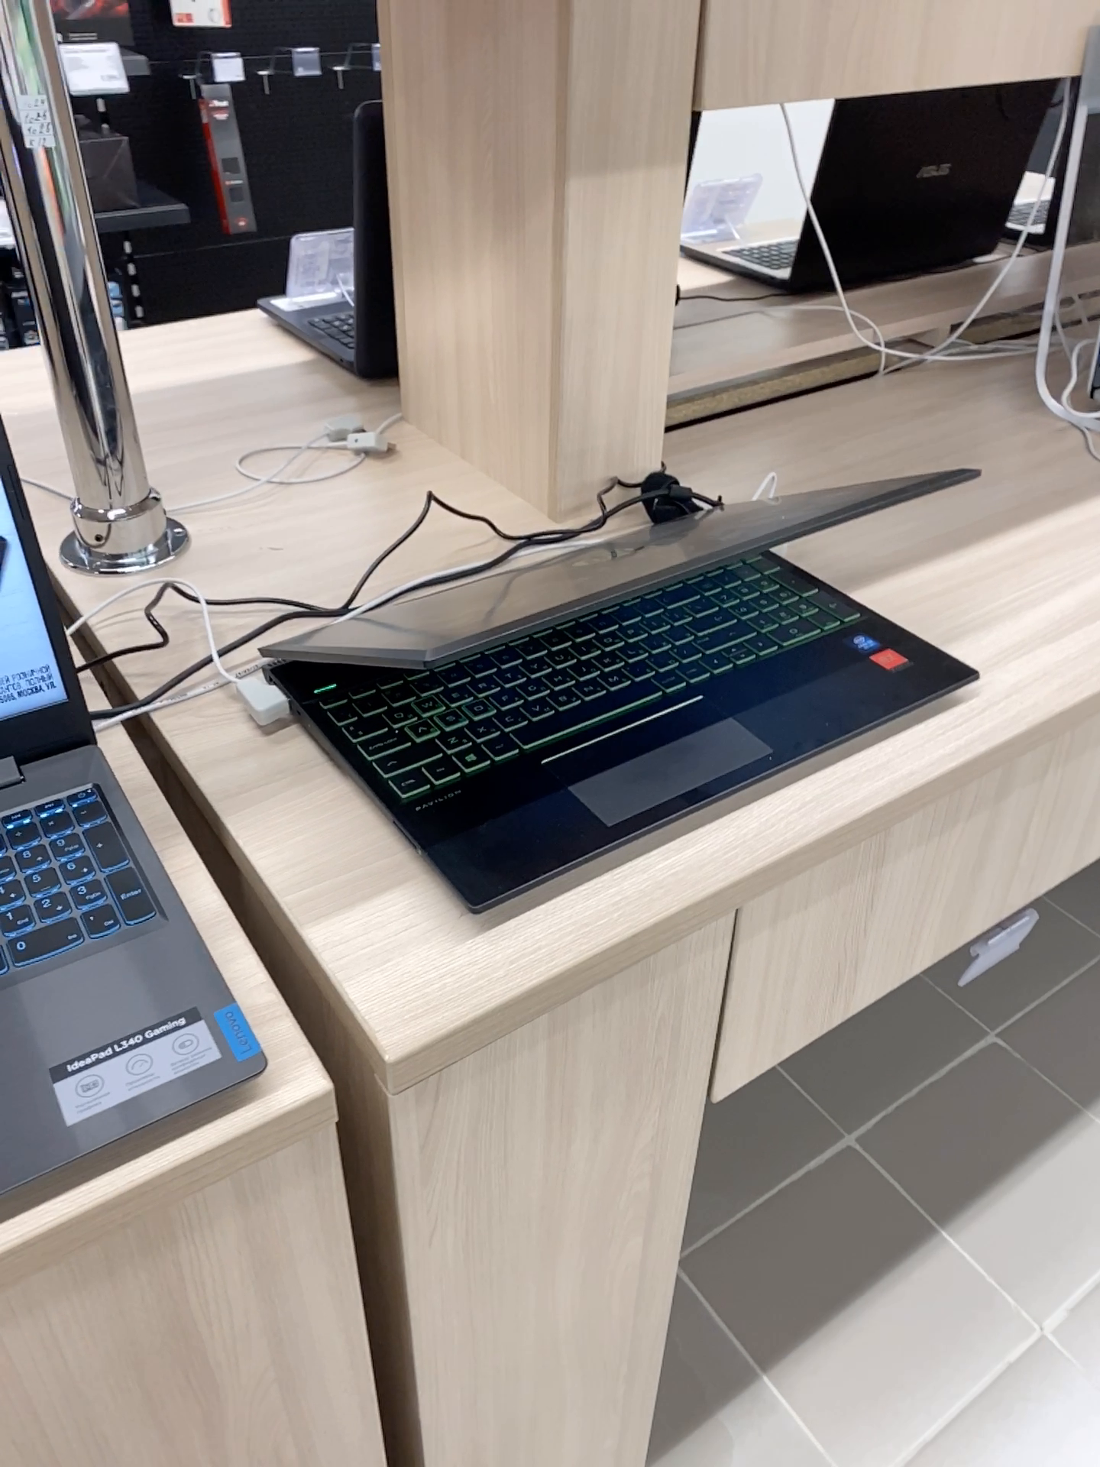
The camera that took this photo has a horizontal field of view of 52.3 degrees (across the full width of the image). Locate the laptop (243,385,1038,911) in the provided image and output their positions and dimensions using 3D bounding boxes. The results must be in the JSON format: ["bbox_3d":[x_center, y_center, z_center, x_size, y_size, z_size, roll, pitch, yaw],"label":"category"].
[{"bbox_3d":[0.051,-0.080,0.643,0.365,0.108,0.235,-21,42,-28],"label":"laptop"}]
